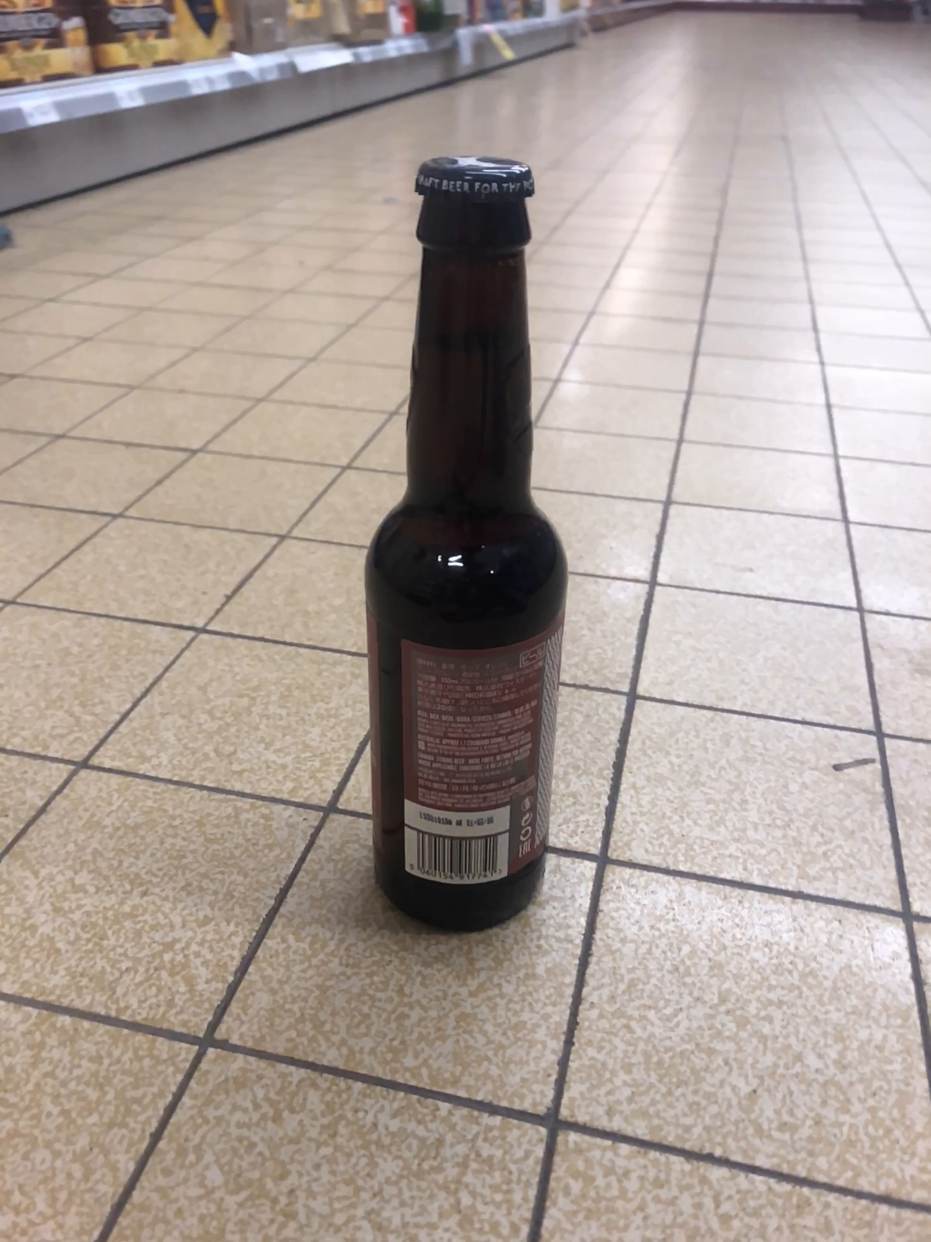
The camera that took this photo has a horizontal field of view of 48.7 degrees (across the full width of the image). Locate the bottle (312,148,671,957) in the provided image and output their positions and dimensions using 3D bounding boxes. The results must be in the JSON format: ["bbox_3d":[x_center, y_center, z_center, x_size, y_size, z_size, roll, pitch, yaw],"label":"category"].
[{"bbox_3d":[0.001,-0.011,0.282,0.070,0.209,0.070,0,31,0],"label":"bottle"}]
